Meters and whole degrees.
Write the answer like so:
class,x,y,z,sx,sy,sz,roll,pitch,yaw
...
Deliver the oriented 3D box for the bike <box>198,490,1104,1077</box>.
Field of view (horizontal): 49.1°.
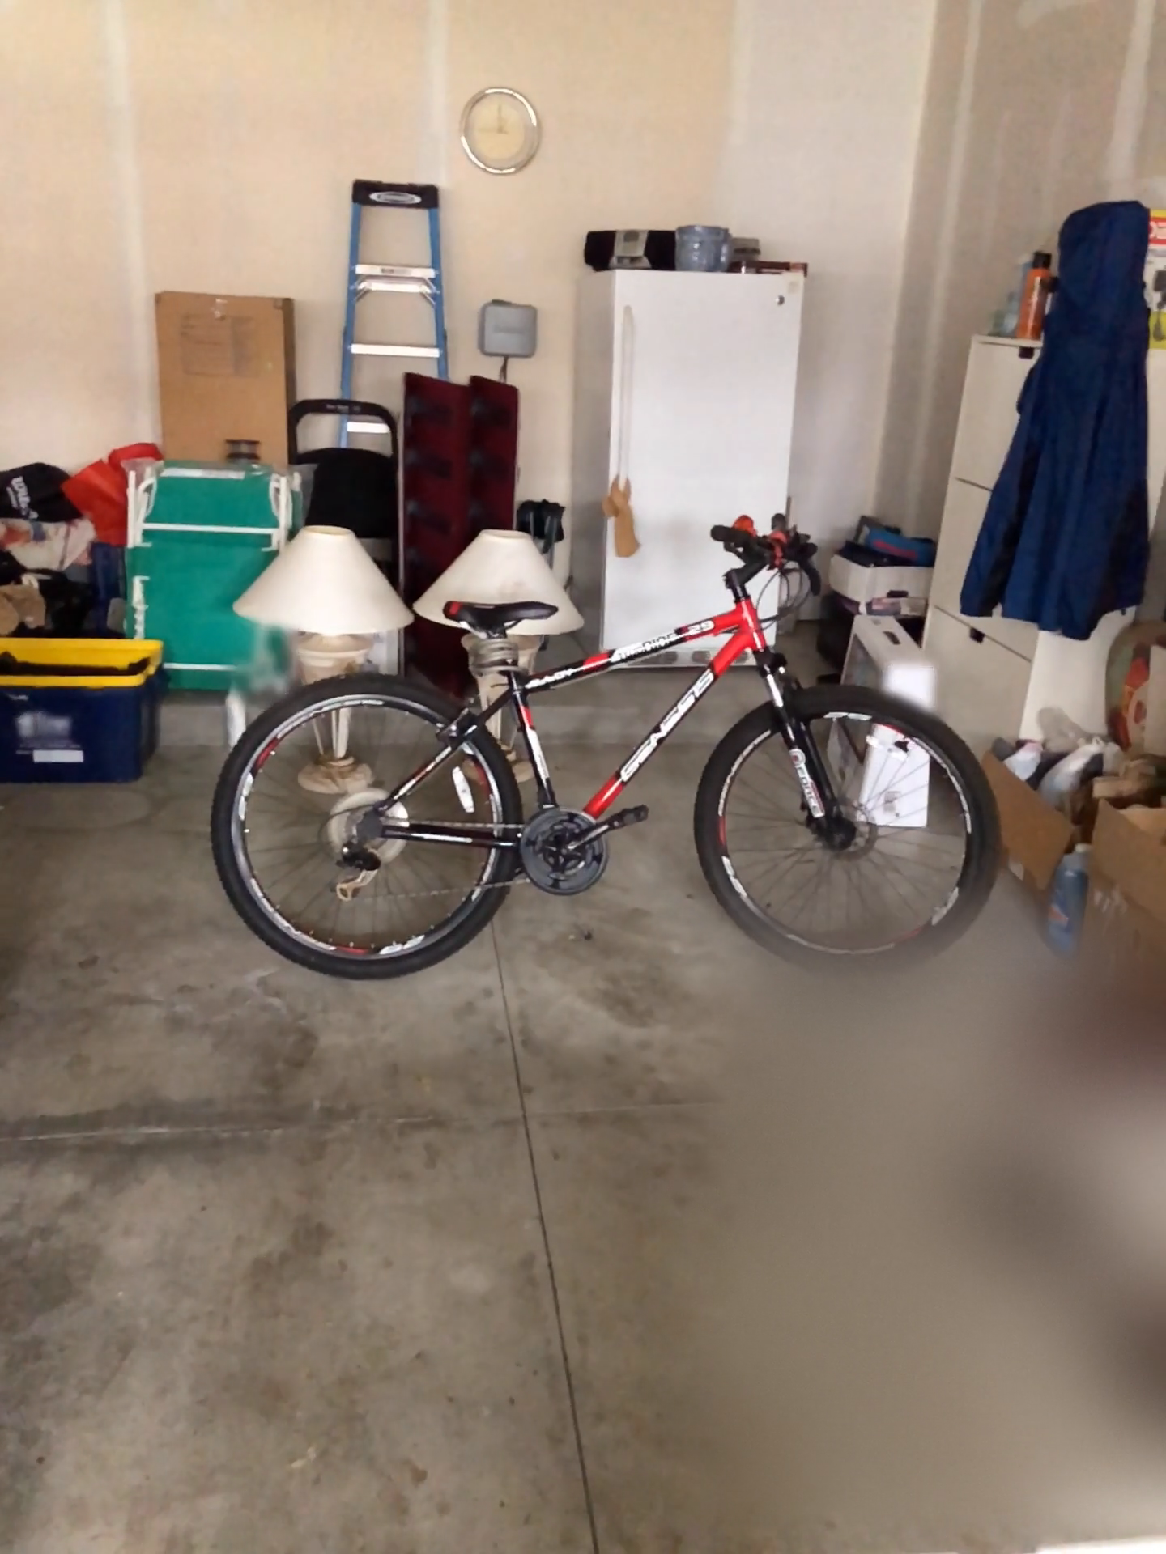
class,x,y,z,sx,sy,sz,roll,pitch,yaw
bike,0.044,-0.014,2.798,1.668,1.054,0.591,2,19,0
